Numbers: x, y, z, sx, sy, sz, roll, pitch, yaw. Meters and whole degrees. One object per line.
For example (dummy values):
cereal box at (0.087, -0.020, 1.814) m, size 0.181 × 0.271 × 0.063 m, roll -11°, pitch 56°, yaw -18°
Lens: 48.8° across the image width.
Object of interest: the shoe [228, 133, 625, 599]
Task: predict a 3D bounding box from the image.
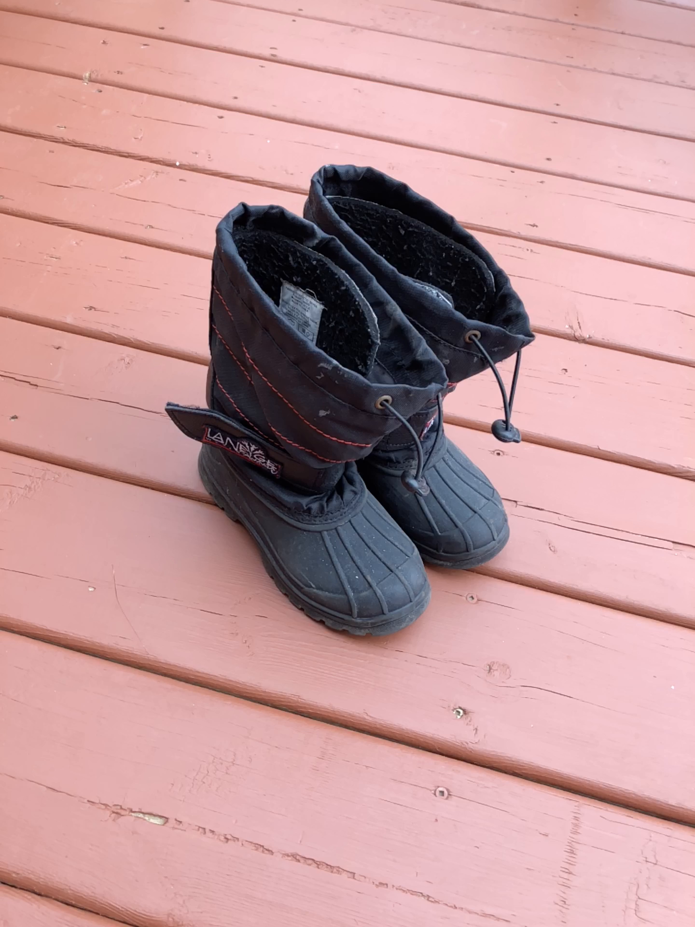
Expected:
shoe at (0.034, -0.059, 0.527) m, size 0.210 × 0.229 × 0.100 m, roll 37°, pitch 58°, yaw 22°

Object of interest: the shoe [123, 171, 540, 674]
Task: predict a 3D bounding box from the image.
shoe at (-0.021, -0.018, 0.489) m, size 0.100 × 0.229 × 0.210 m, roll -36°, pitch 63°, yaw -27°
